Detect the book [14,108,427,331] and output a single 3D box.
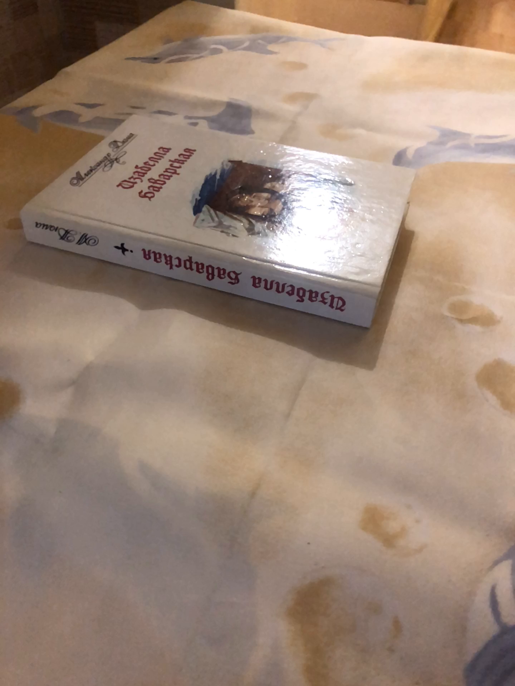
[{"bbox_3d":[-0.013,-0.087,0.349,0.208,0.026,0.140,14,46,12],"label":"book"}]
